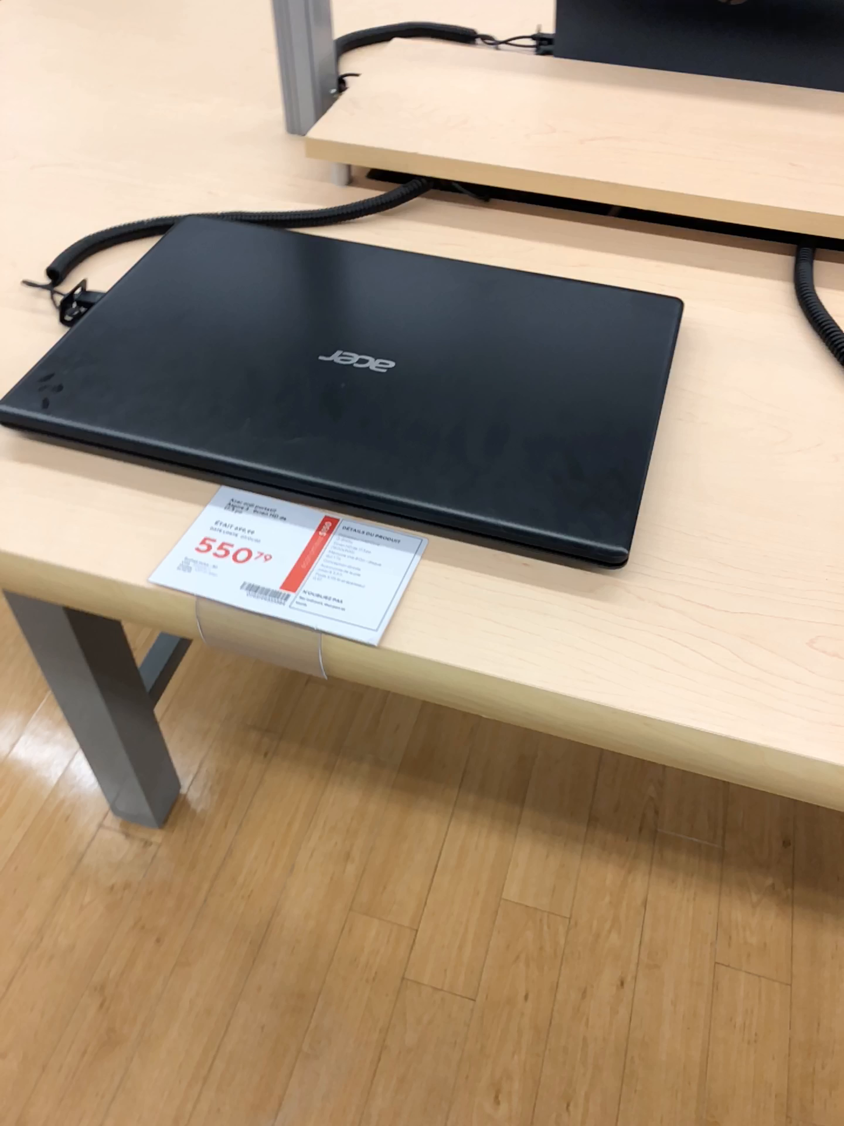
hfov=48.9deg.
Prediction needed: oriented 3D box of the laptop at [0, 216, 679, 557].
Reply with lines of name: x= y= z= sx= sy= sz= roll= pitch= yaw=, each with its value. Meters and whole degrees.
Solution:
laptop: x=-0.043 y=-0.148 z=0.655 sx=0.416 sy=0.001 sz=0.268 roll=14 pitch=49 yaw=12
